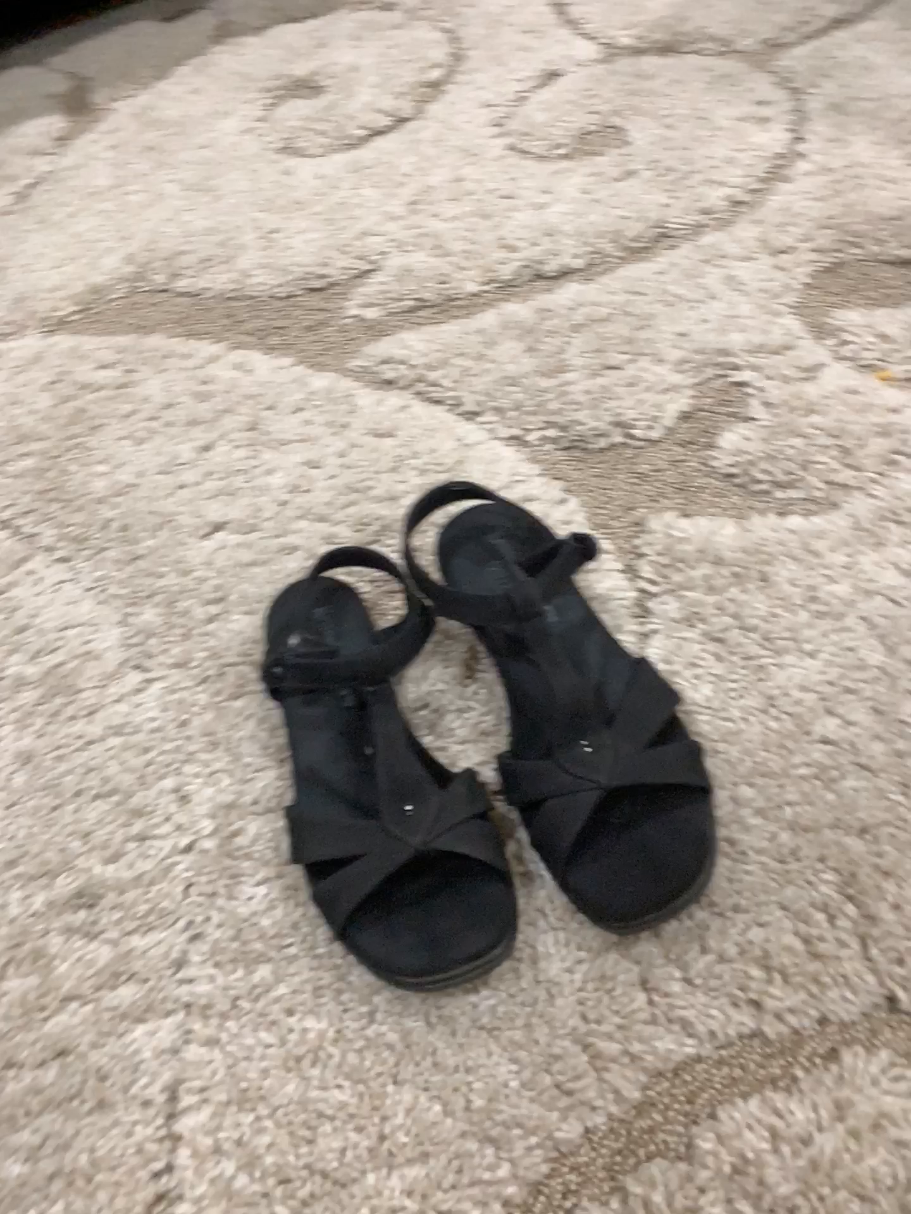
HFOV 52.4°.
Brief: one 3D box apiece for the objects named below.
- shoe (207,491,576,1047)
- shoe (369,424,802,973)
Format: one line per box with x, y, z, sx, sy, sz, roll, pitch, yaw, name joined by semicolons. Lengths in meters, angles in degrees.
-0.041;0.060;0.440;0.100;0.059;0.243;-22;51;-3;shoe
0.046;0.026;0.431;0.100;0.059;0.243;-22;51;-3;shoe
